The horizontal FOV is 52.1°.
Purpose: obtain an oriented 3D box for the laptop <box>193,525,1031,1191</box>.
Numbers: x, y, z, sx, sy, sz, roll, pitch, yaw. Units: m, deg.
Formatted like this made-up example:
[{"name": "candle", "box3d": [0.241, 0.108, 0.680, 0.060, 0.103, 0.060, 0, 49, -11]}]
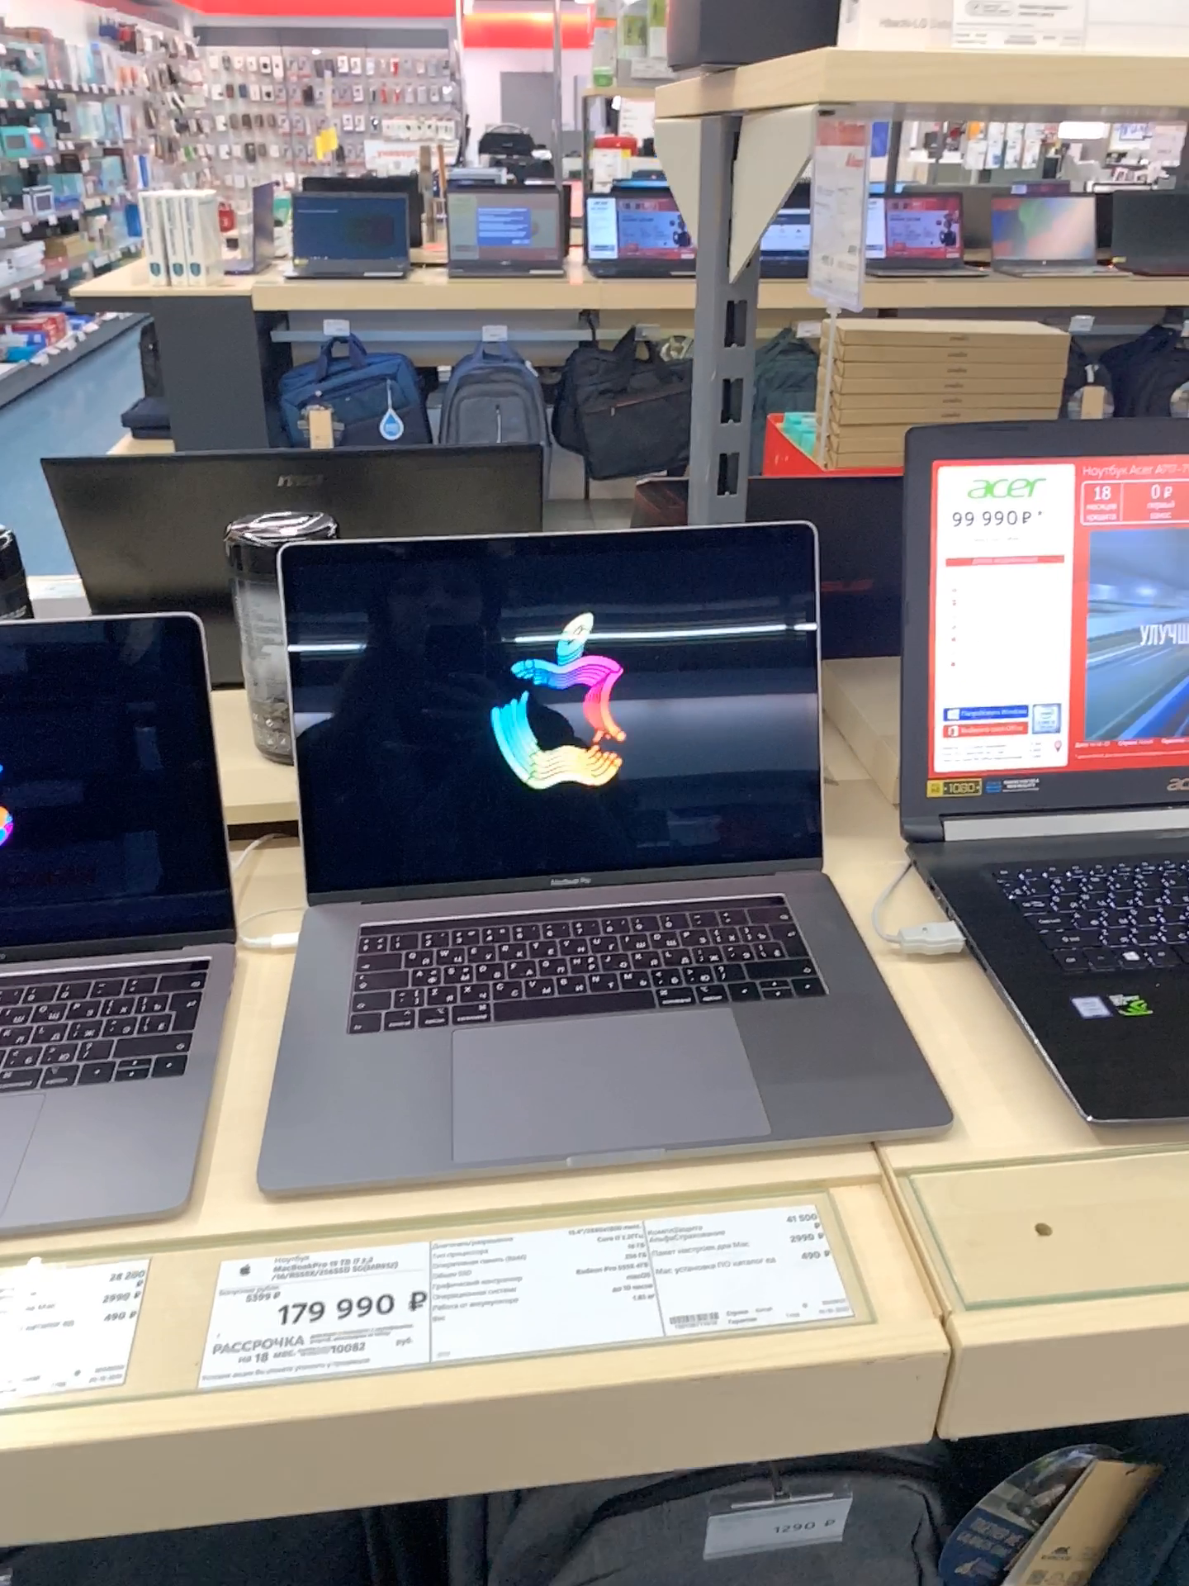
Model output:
[{"name": "laptop", "box3d": [-0.007, 0.007, 0.687, 0.345, 0.210, 0.326, -3, 29, -6]}]
